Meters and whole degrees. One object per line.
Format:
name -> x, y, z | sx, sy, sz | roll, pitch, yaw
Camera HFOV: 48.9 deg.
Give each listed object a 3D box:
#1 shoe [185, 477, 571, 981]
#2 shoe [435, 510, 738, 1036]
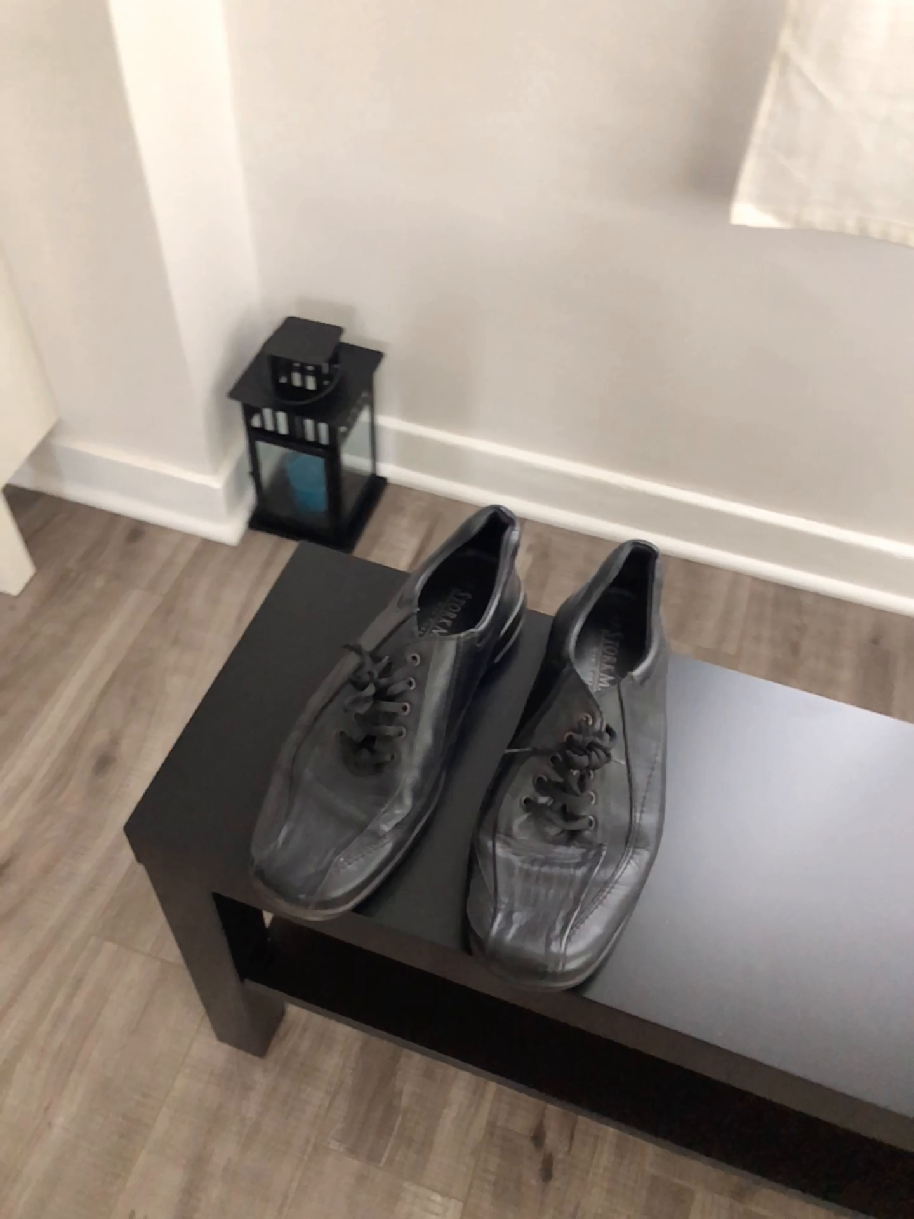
shoe -> -0.036, 0.063, 0.640 | 0.110, 0.110, 0.286 | 21, 54, 13
shoe -> 0.084, 0.088, 0.618 | 0.110, 0.110, 0.283 | 15, 53, 9
